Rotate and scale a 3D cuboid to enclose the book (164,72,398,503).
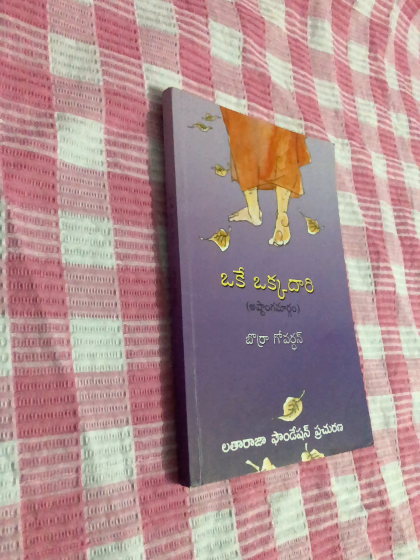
[{"bbox_3d":[0.046,0.001,0.277,0.151,0.020,0.210,6,75,-37],"label":"book"}]
